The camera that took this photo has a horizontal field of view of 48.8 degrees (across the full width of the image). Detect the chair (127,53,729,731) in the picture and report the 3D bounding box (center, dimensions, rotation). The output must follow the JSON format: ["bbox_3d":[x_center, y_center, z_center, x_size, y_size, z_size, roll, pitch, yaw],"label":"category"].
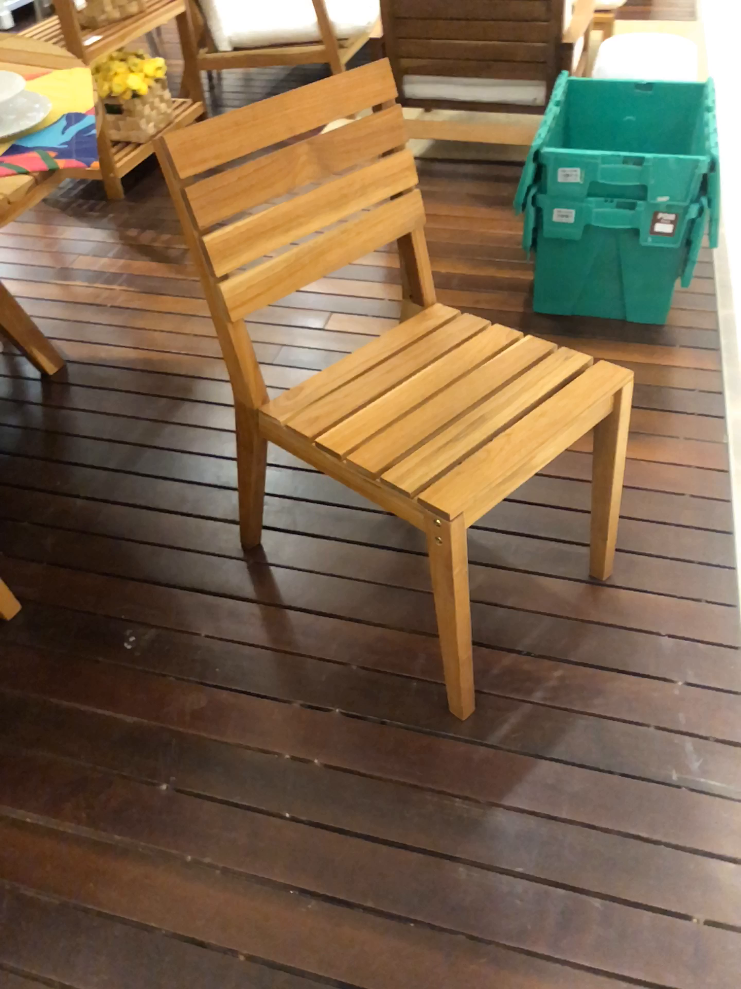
[{"bbox_3d":[0.076,-0.170,1.281,0.602,0.764,0.462,32,53,33],"label":"chair"}]
